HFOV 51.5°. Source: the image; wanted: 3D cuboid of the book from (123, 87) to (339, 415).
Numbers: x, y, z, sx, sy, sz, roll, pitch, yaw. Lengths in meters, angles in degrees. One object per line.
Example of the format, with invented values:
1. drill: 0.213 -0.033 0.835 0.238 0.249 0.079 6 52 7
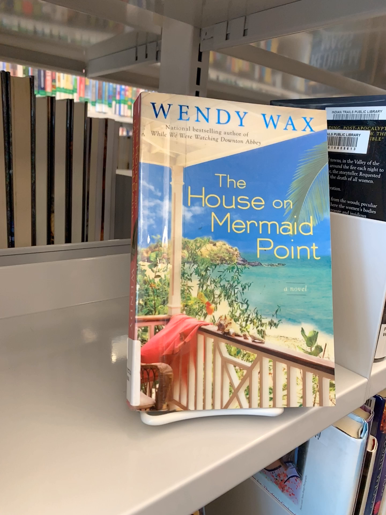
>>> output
1. book: 0.023 -0.004 0.265 0.131 0.193 0.043 2 -5 -9
